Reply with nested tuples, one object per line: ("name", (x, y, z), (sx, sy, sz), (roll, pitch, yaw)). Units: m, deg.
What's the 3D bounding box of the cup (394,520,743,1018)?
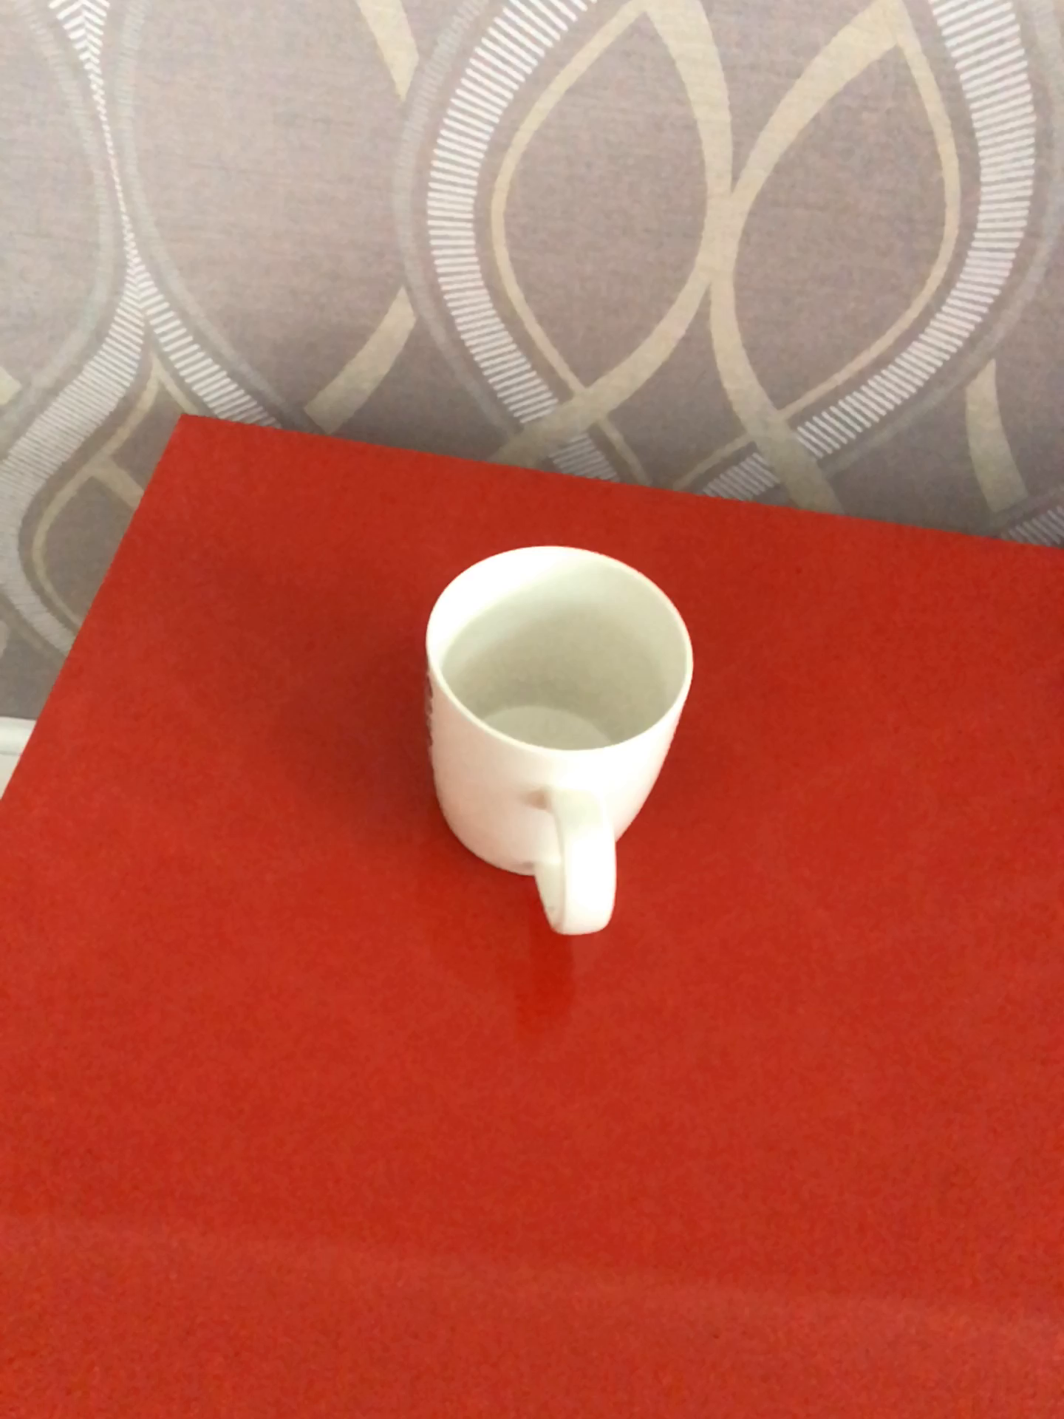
("cup", (0.002, 0.022, 0.408), (0.090, 0.119, 0.121), (-3, 53, -9))
